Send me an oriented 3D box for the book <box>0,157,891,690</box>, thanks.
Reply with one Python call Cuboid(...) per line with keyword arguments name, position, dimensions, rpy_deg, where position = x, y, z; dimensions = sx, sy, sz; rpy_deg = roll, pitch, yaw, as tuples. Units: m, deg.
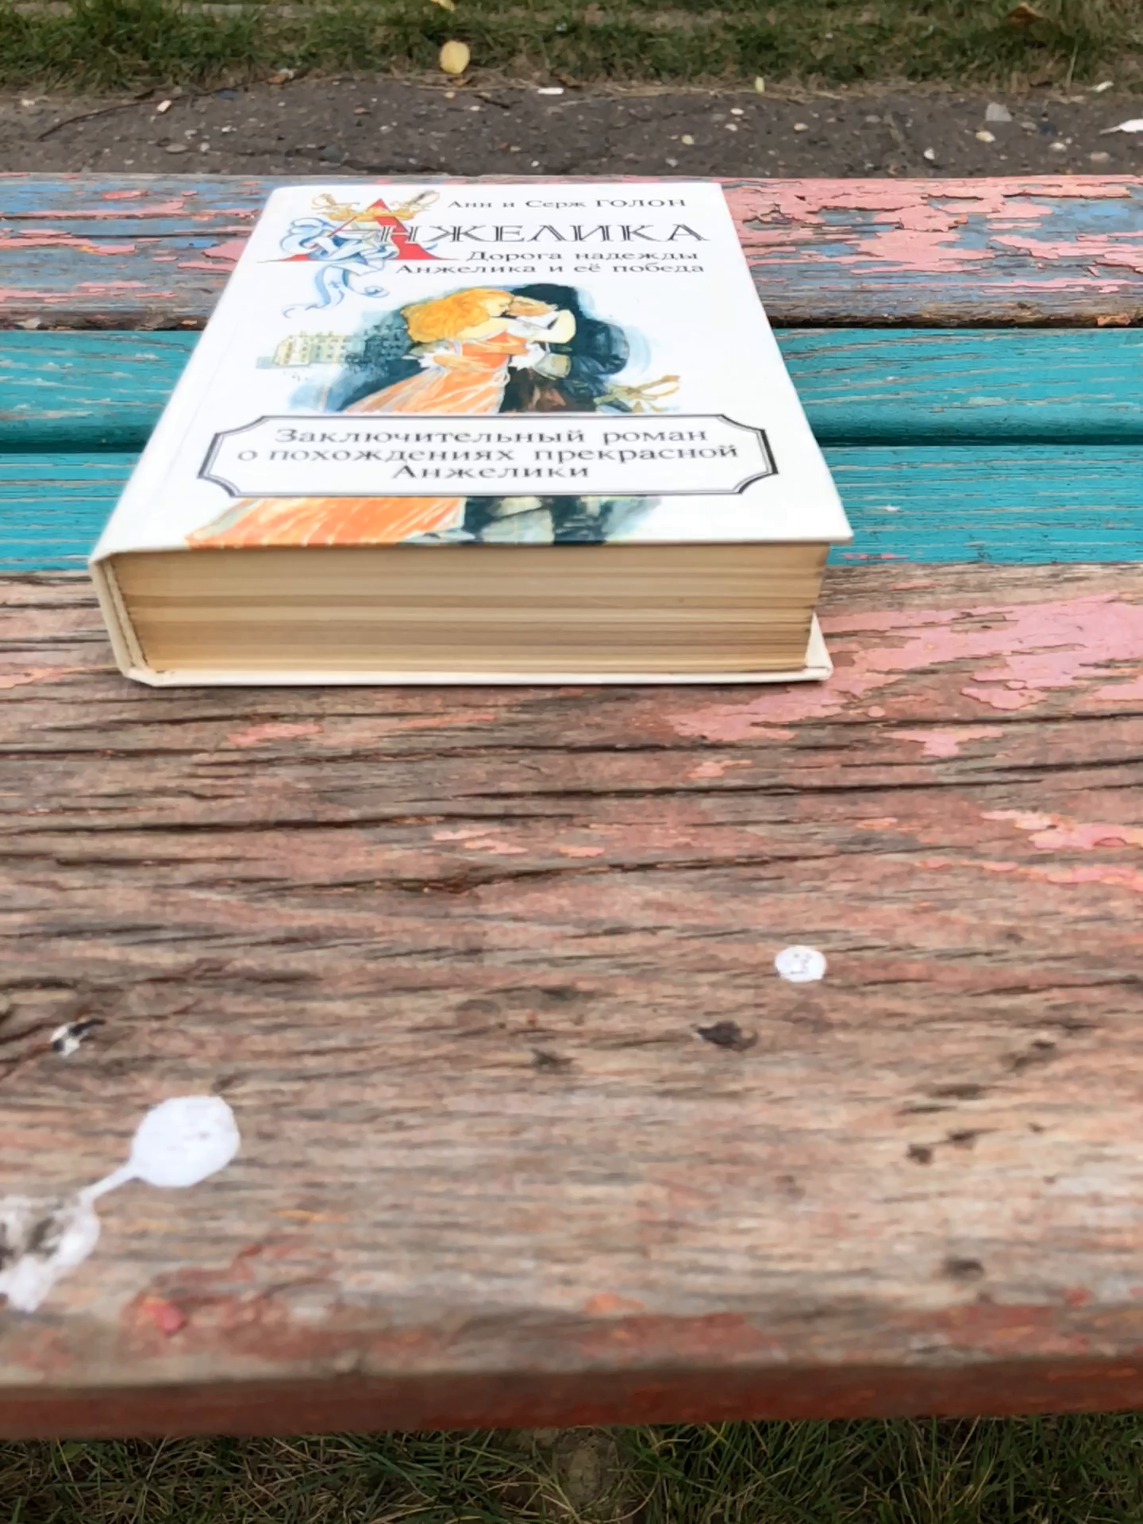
Cuboid(name="book", position=(-0.025, -0.096, 0.309), dimensions=(0.153, 0.032, 0.214), rpy_deg=(0, 41, -3))
